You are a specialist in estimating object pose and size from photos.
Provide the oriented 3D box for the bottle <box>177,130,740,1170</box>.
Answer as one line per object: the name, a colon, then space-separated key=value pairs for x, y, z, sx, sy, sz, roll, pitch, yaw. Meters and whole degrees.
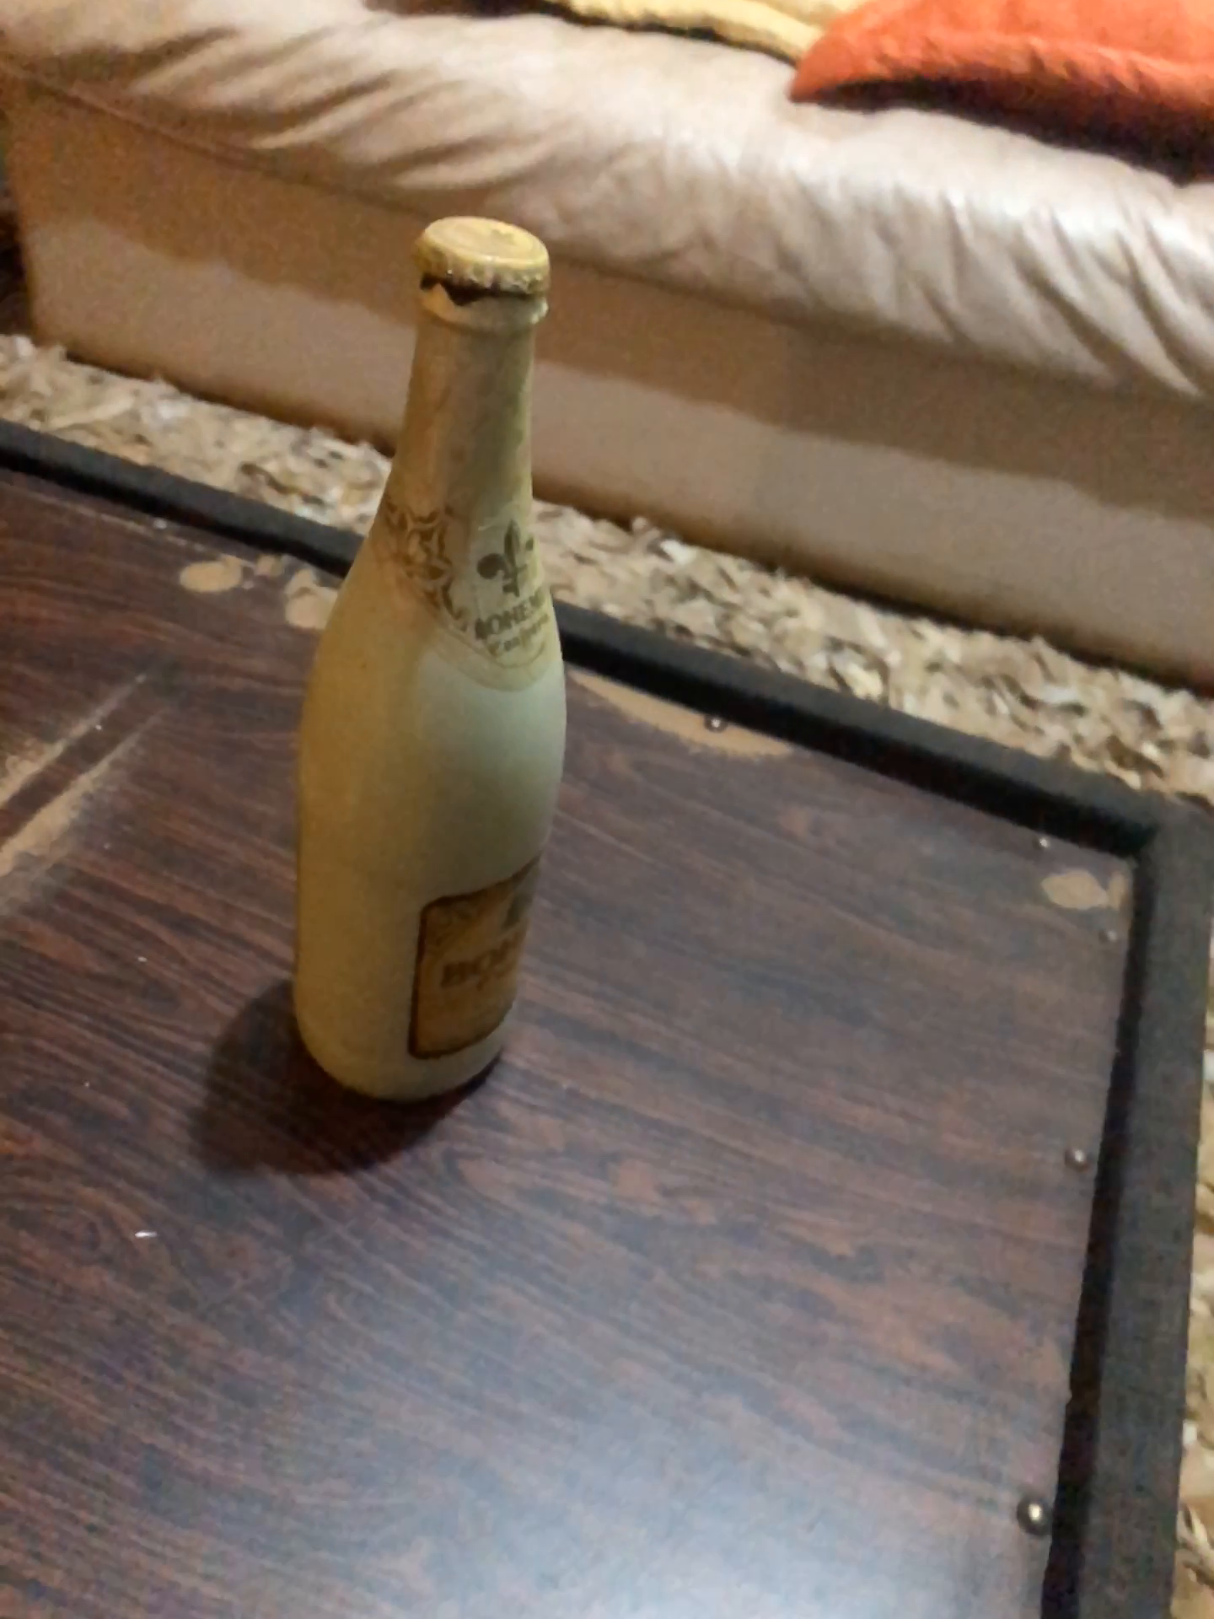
bottle: x=-0.040 y=-0.024 z=0.349 sx=0.080 sy=0.248 sz=0.081 roll=5 pitch=42 yaw=-4
